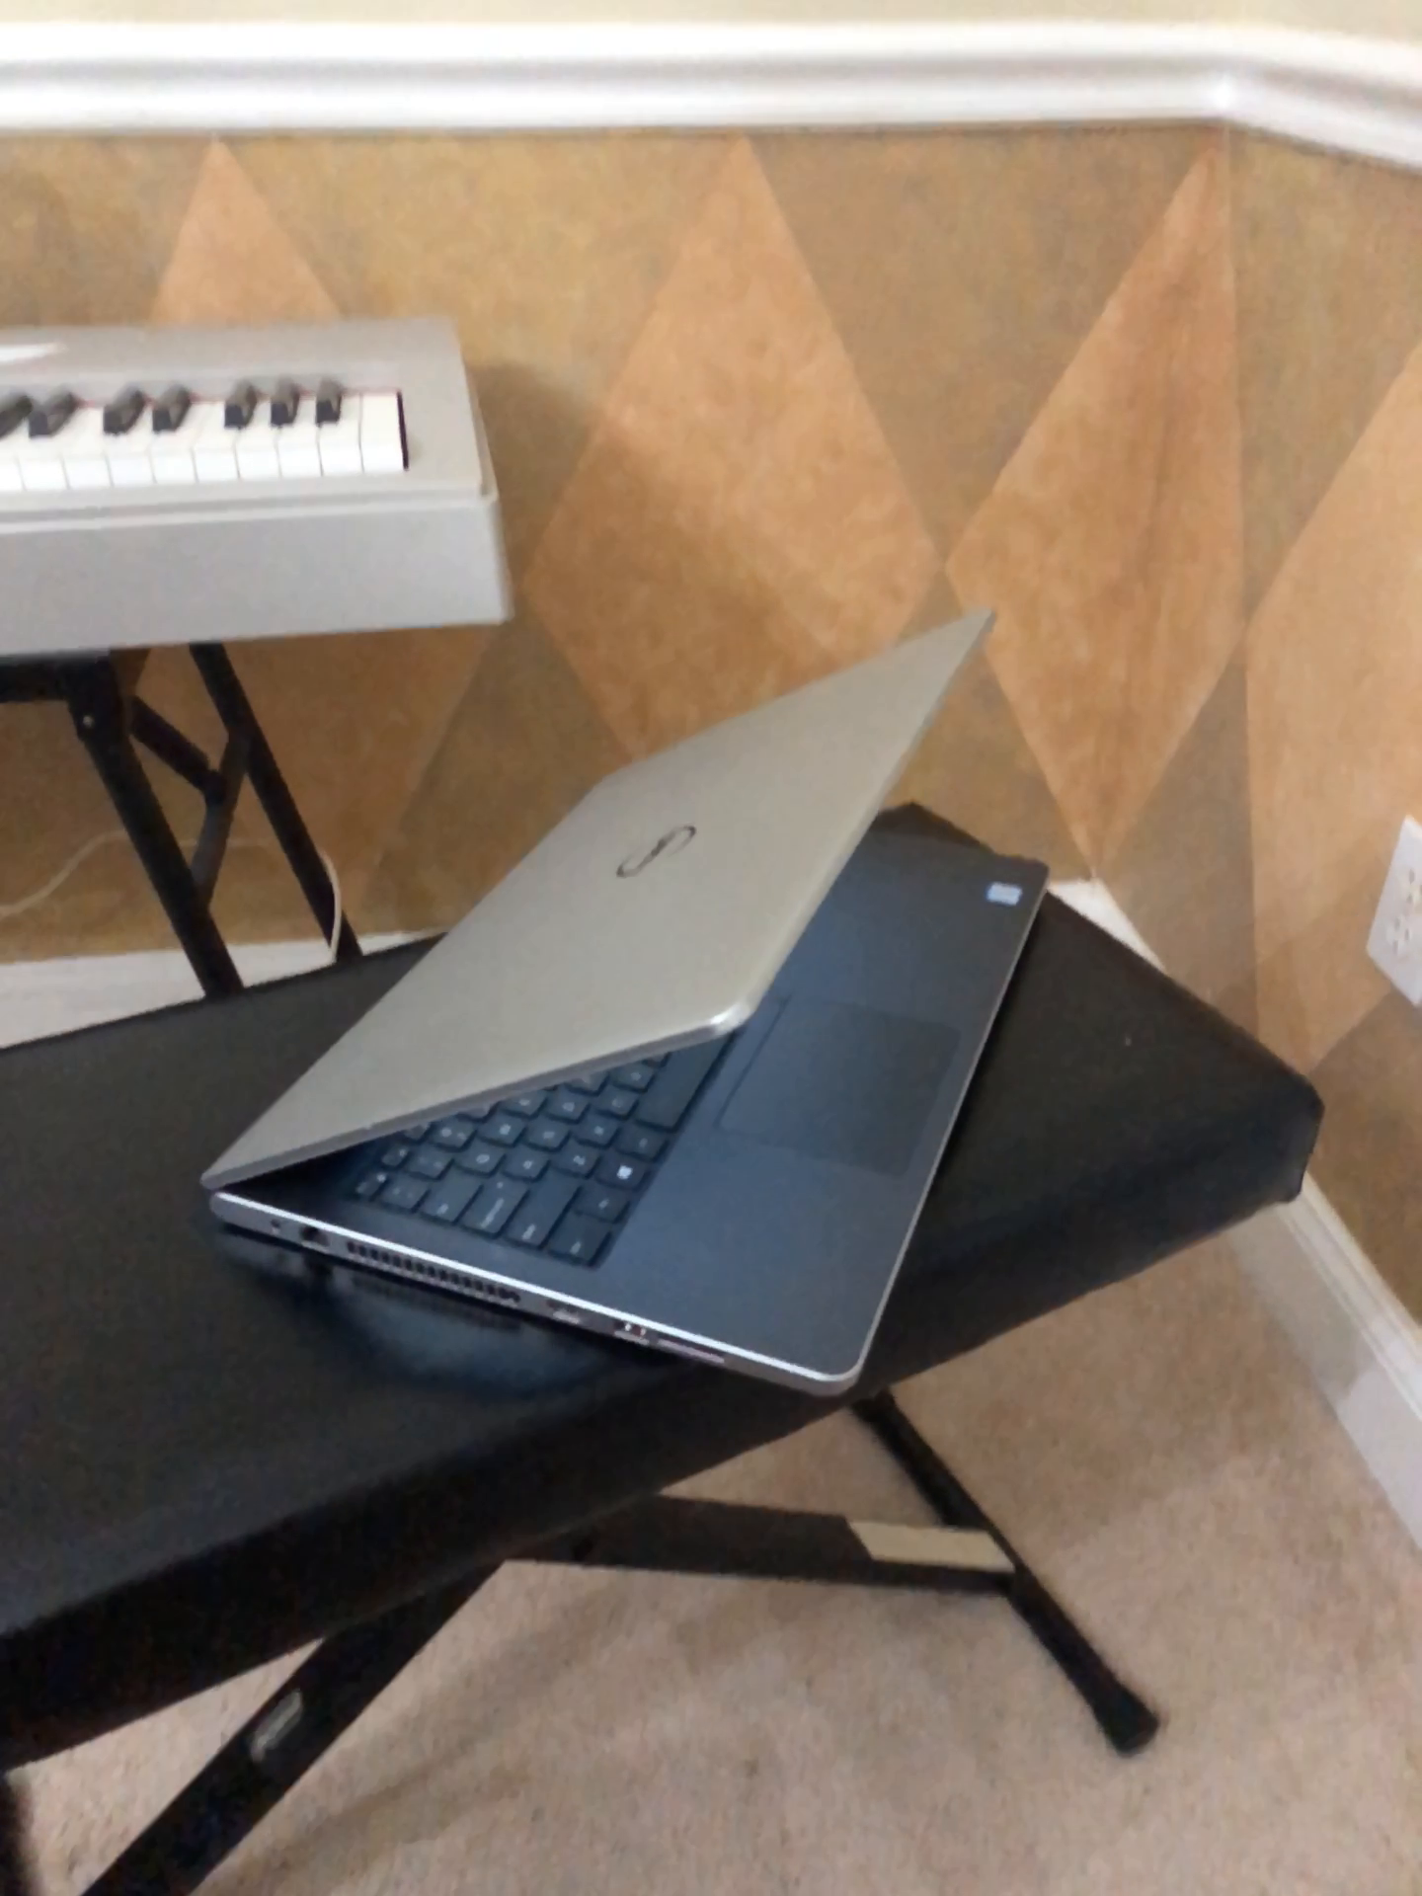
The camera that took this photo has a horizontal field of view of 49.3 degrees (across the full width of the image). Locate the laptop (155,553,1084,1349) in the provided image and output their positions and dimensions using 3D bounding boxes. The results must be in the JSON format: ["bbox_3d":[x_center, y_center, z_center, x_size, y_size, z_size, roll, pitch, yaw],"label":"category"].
[{"bbox_3d":[-0.006,-0.036,0.698,0.261,0.136,0.377,12,35,17],"label":"laptop"}]
